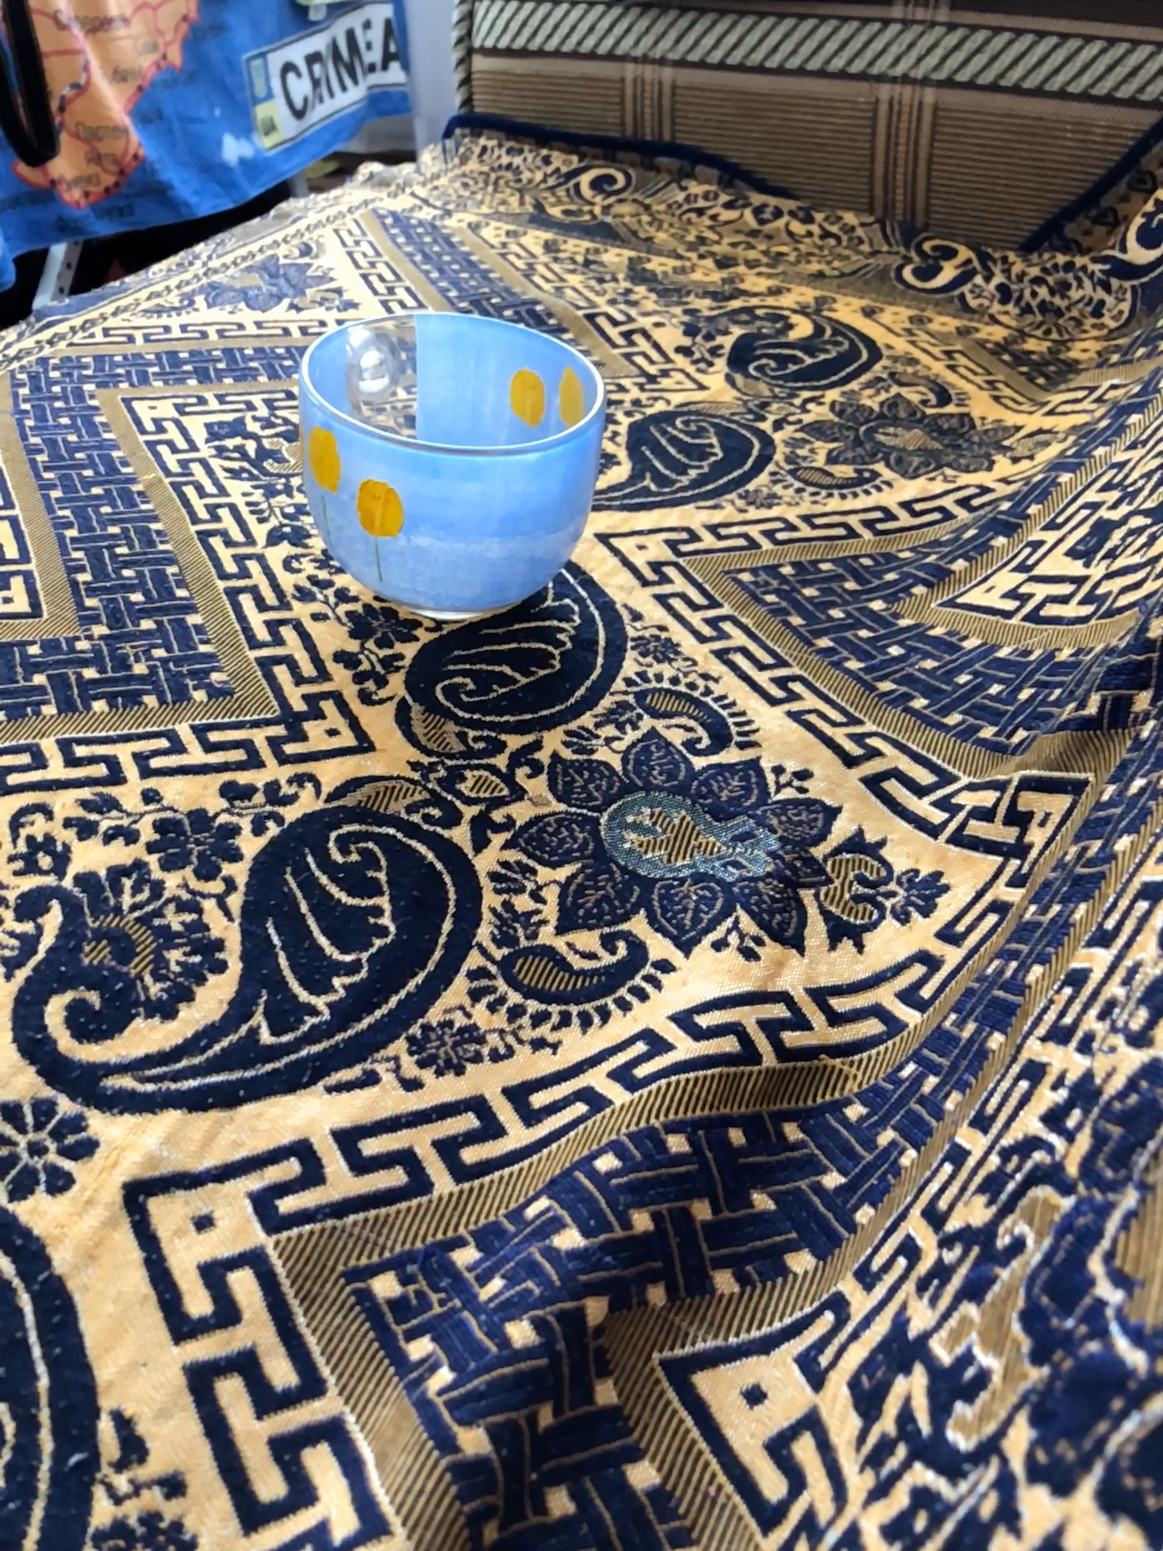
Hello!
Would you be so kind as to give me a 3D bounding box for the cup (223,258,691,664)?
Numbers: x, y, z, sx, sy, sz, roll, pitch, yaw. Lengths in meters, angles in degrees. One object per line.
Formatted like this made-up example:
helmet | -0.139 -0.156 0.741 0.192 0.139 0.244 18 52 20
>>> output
cup | -0.048 -0.124 0.476 0.108 0.072 0.139 -24 49 -27
